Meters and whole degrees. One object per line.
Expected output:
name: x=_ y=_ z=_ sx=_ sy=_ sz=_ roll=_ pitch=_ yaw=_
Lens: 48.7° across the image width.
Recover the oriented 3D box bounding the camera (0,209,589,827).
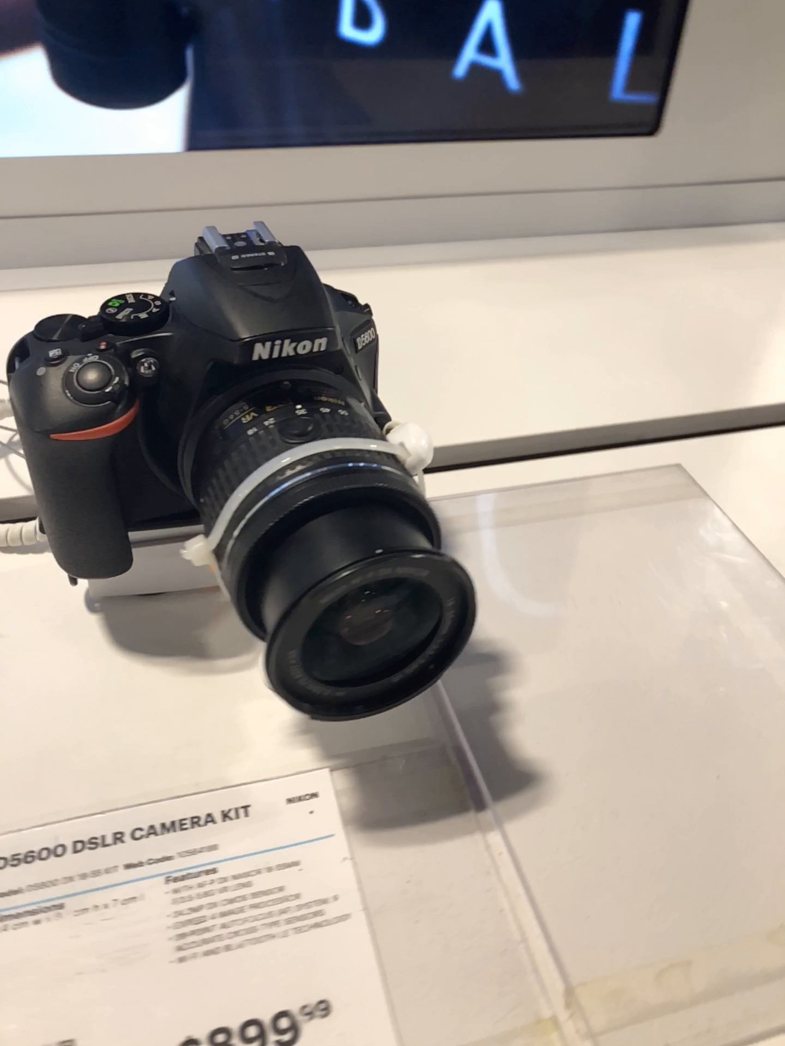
camera: x=-0.044 y=-0.017 z=0.252 sx=0.130 sy=0.089 sz=0.141 roll=-13 pitch=41 yaw=-19
